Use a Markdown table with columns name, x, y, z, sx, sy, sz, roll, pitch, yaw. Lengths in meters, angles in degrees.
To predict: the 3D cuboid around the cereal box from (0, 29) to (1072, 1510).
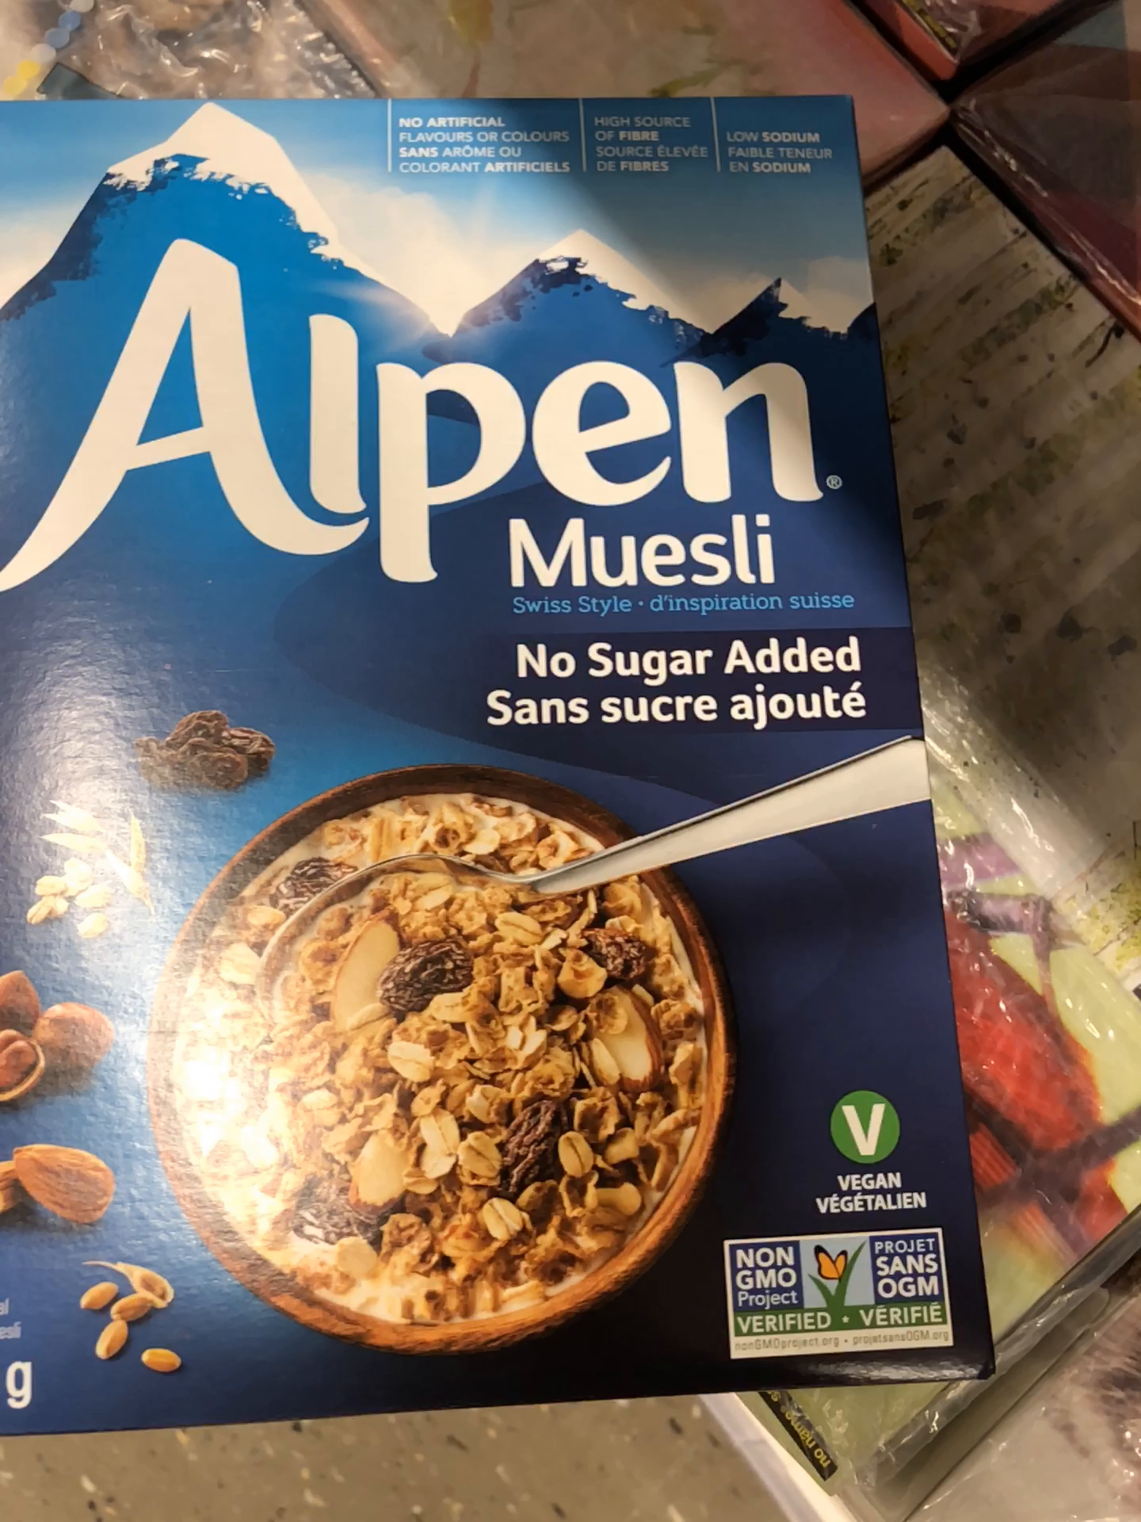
| name | x | y | z | sx | sy | sz | roll | pitch | yaw |
| --- | --- | --- | --- | --- | --- | --- | --- | --- | --- |
| cereal box | -0.031 | -0.013 | 0.240 | 0.200 | 0.050 | 0.250 | -2 | 77 | -3 |
